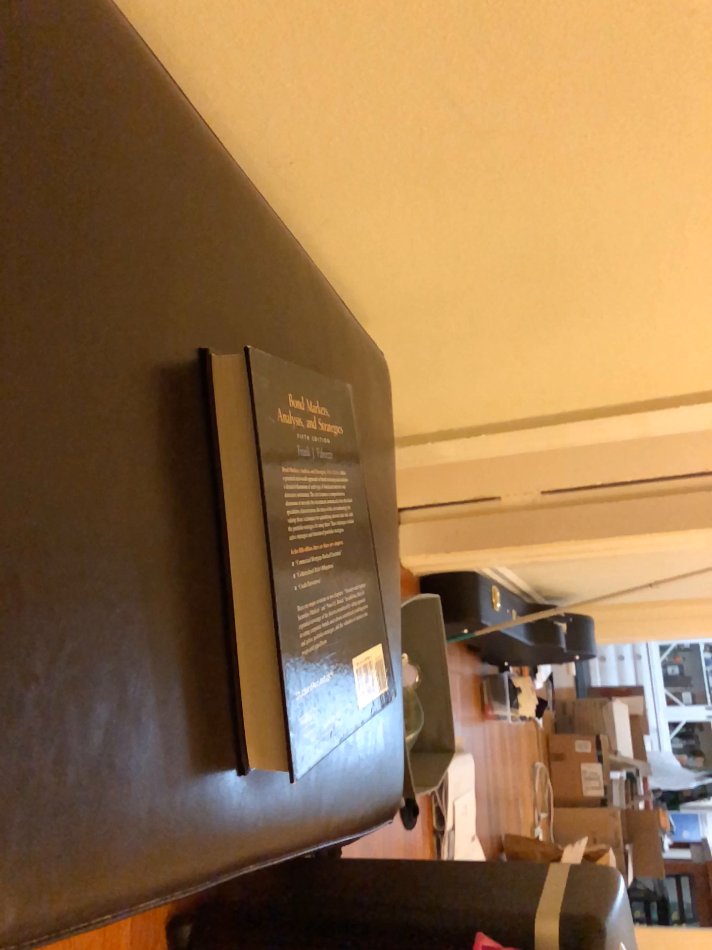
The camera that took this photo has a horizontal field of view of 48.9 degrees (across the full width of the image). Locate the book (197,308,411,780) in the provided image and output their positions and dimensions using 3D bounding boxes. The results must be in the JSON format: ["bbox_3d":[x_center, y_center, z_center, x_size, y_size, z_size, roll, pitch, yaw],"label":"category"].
[{"bbox_3d":[-0.024,0.040,0.531,0.201,0.040,0.260,3,80,-70],"label":"book"}]
